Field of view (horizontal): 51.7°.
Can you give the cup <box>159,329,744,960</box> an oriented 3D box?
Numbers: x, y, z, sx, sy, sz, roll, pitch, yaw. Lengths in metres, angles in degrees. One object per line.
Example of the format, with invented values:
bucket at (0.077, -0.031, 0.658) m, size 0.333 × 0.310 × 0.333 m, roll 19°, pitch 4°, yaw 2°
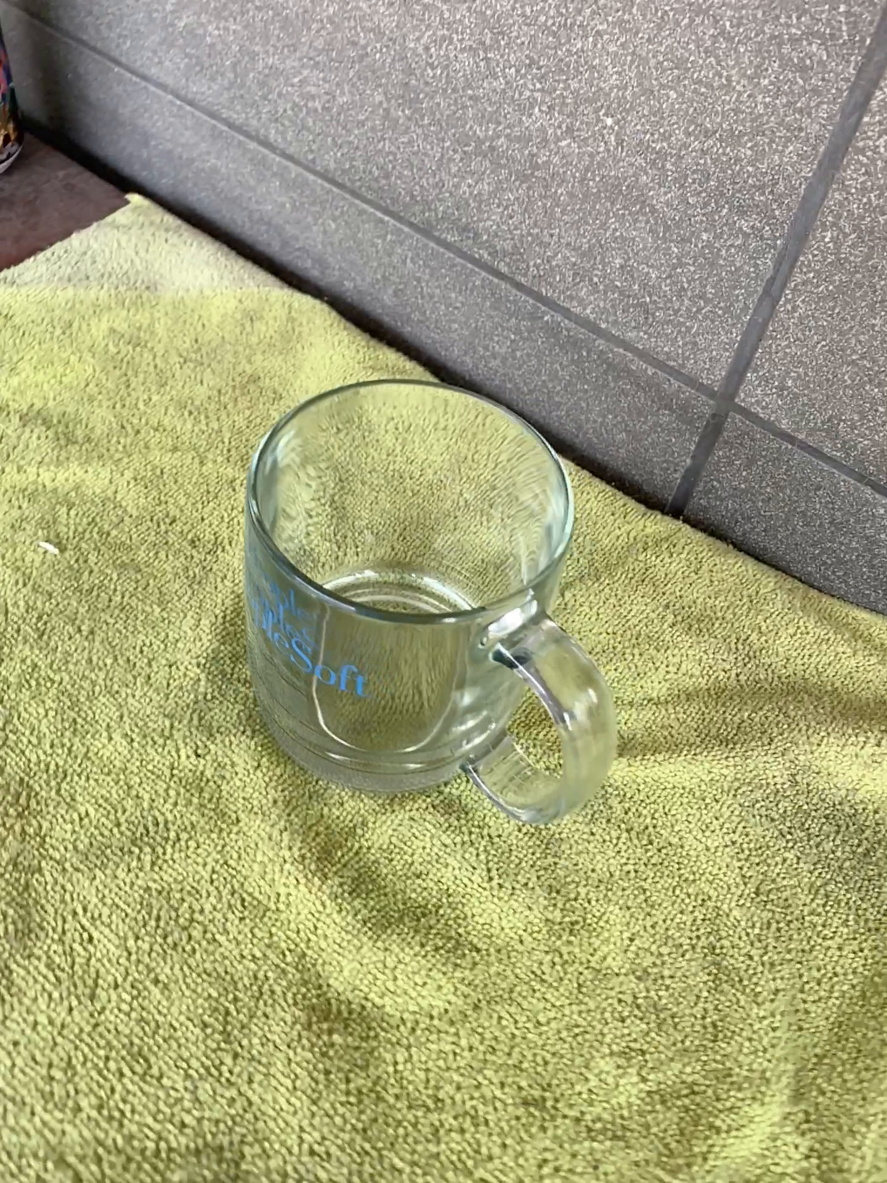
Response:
cup at (-0.006, 0.013, 0.255) m, size 0.080 × 0.100 × 0.120 m, roll -32°, pitch 62°, yaw -30°
